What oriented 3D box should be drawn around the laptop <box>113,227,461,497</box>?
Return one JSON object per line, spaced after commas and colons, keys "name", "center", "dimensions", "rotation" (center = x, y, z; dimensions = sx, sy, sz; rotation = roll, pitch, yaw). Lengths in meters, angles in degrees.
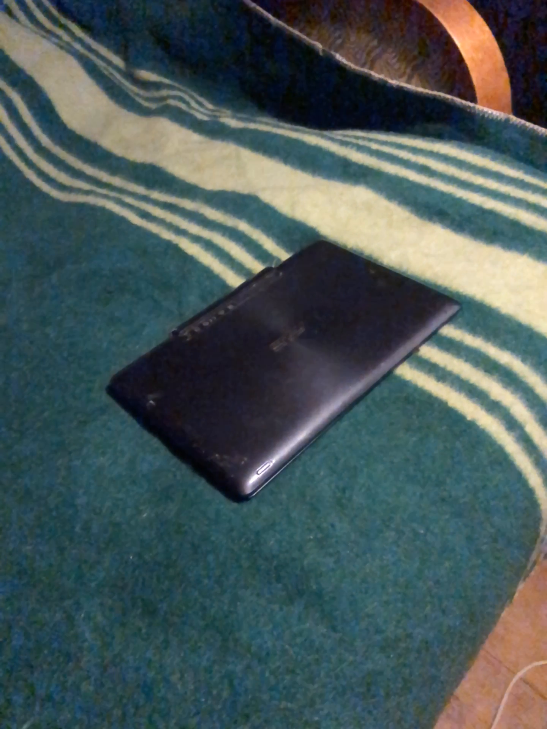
{"name": "laptop", "center": [0.016, -0.025, 0.518], "dimensions": [0.167, 0.017, 0.262], "rotation": [32, 57, 33]}
